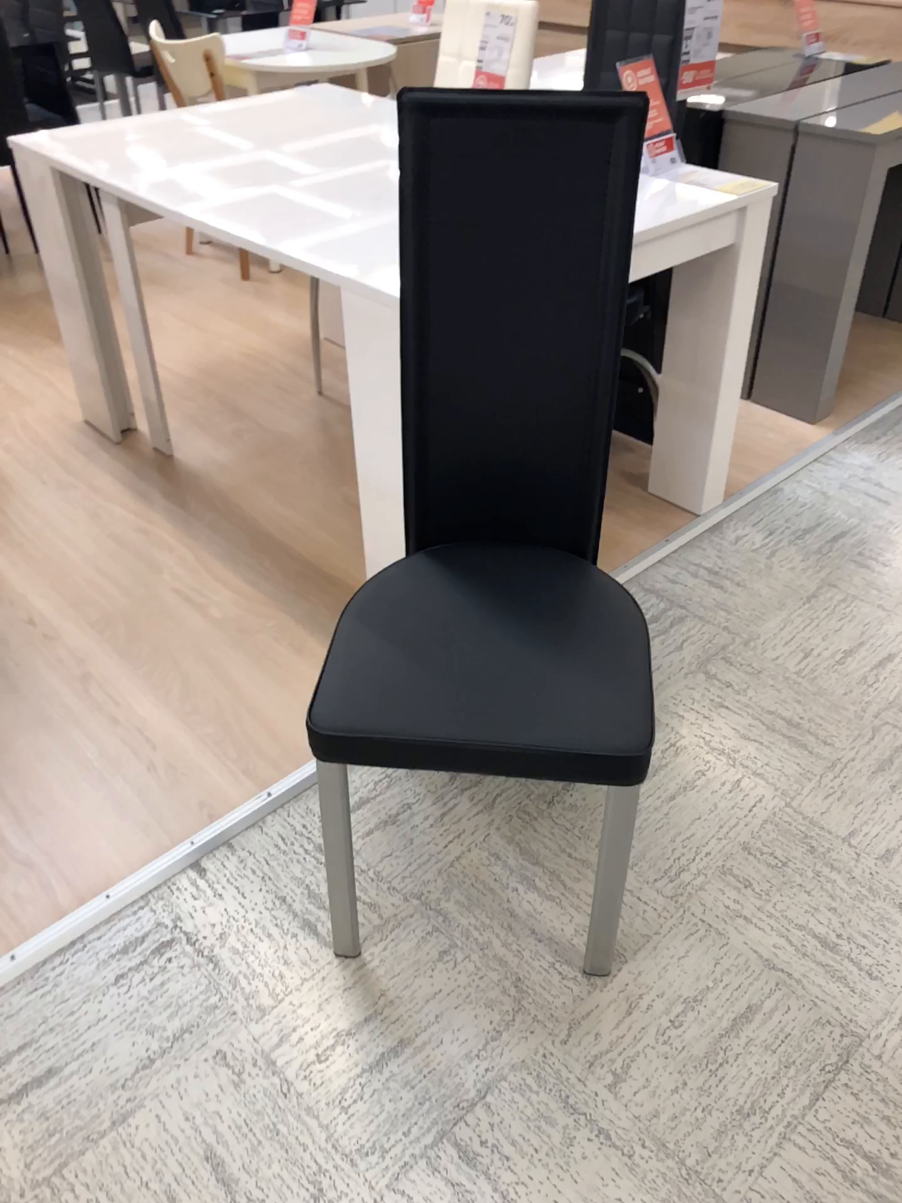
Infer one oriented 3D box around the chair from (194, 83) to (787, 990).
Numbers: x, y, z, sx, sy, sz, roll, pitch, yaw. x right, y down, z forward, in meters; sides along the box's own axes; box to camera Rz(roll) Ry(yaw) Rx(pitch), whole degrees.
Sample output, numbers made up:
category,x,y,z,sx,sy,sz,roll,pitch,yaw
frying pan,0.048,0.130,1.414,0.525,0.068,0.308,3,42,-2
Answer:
category,x,y,z,sx,sy,sz,roll,pitch,yaw
chair,0.059,-0.043,1.245,0.450,1.014,0.493,3,37,6
